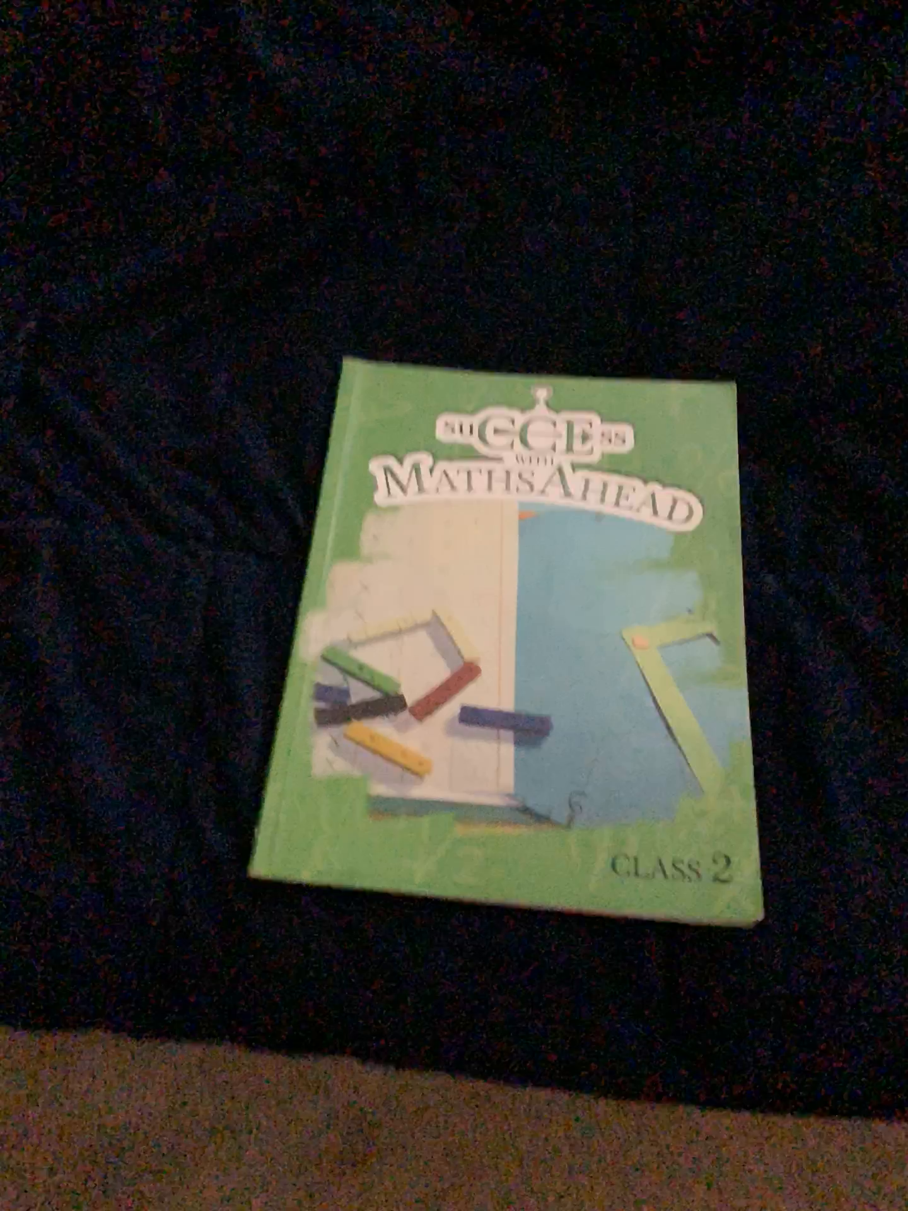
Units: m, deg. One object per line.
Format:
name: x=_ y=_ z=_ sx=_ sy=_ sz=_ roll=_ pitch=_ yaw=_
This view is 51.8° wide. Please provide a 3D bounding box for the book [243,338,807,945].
book: x=0.041 y=0.001 z=0.444 sx=0.230 sy=0.020 sz=0.281 roll=5 pitch=67 yaw=2
